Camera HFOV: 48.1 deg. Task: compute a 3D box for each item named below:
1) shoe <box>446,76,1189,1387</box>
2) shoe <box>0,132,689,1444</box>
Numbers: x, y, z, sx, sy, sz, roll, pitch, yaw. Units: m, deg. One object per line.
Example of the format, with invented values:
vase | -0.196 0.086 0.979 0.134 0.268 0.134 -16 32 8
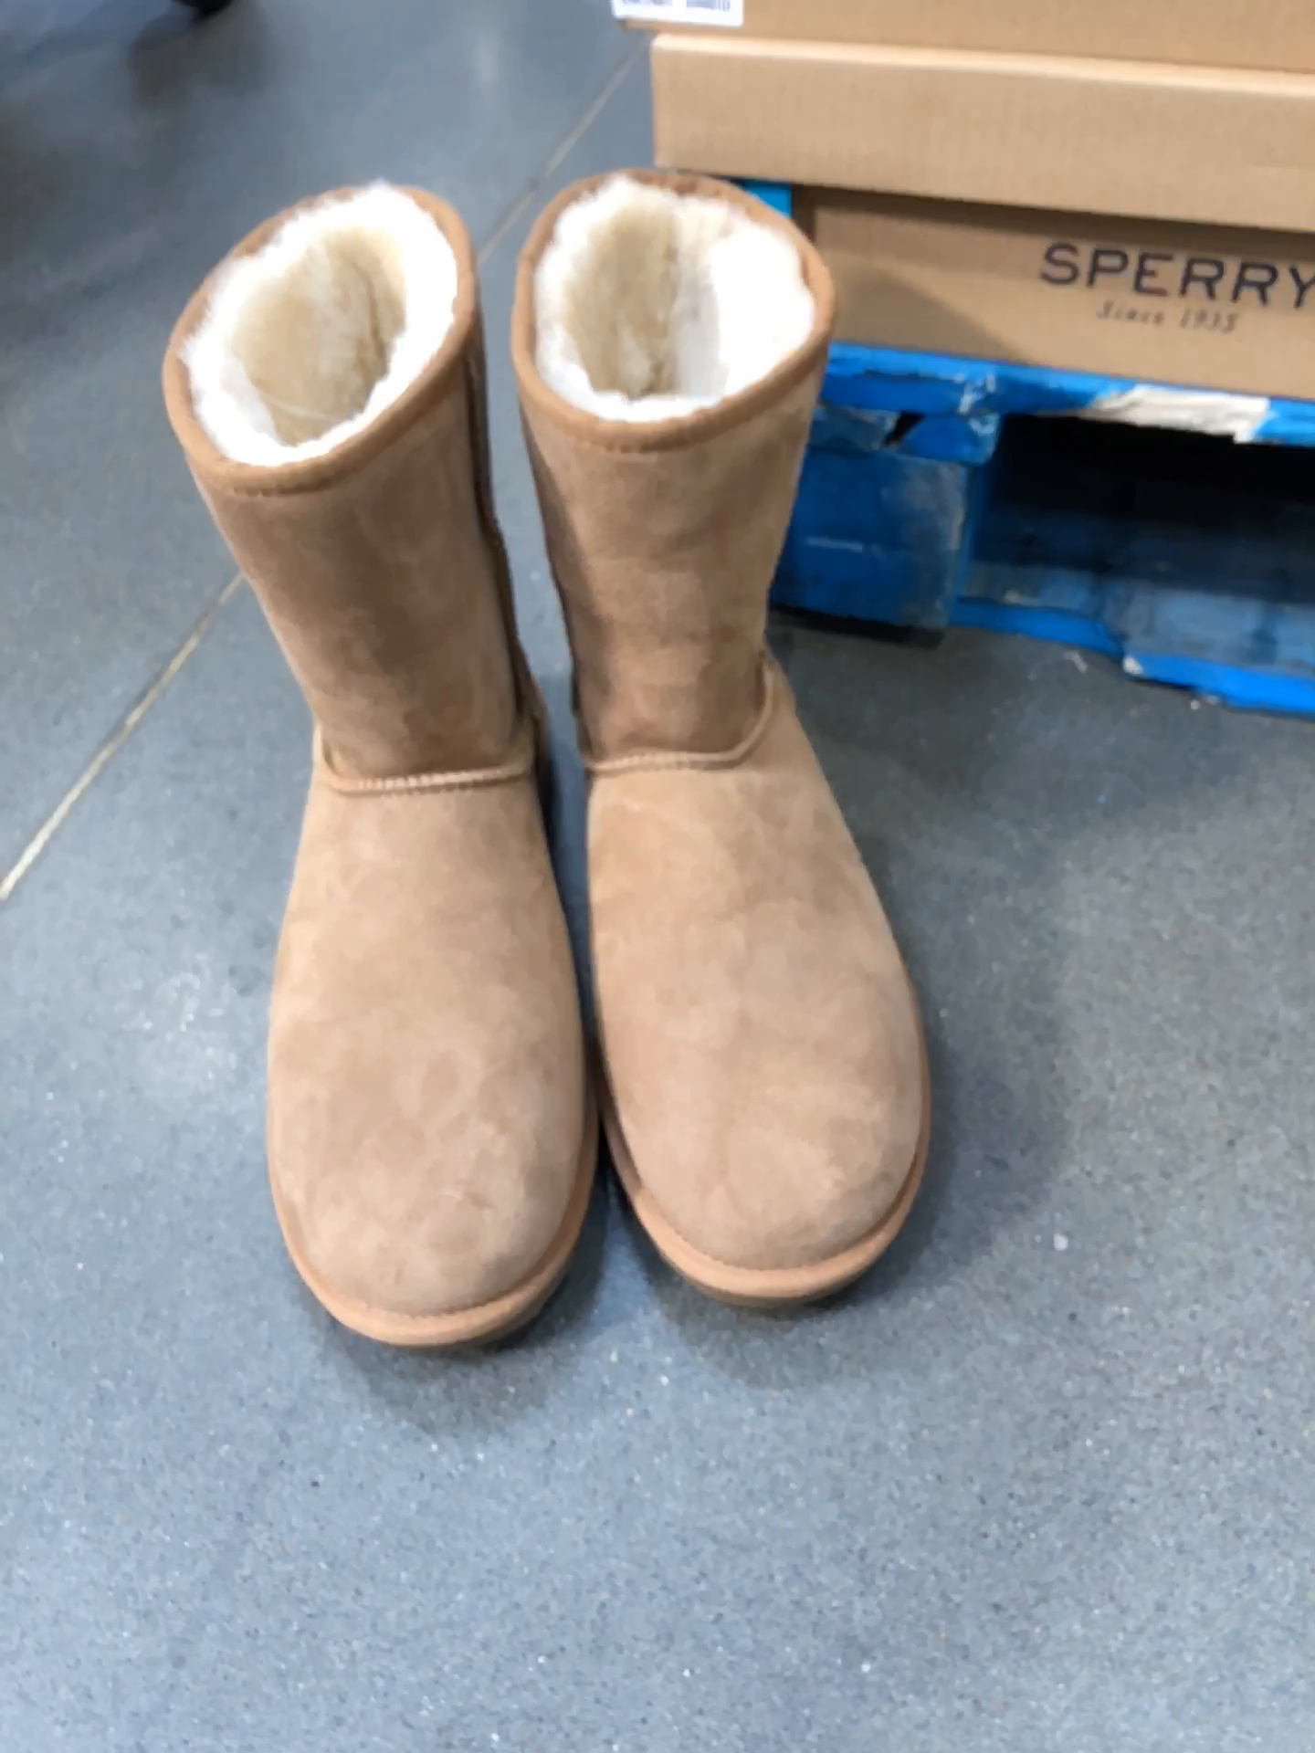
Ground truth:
shoe | 0.025 -0.047 0.470 0.130 0.259 0.311 -8 50 -1
shoe | -0.073 -0.027 0.466 0.130 0.259 0.311 -5 50 1
